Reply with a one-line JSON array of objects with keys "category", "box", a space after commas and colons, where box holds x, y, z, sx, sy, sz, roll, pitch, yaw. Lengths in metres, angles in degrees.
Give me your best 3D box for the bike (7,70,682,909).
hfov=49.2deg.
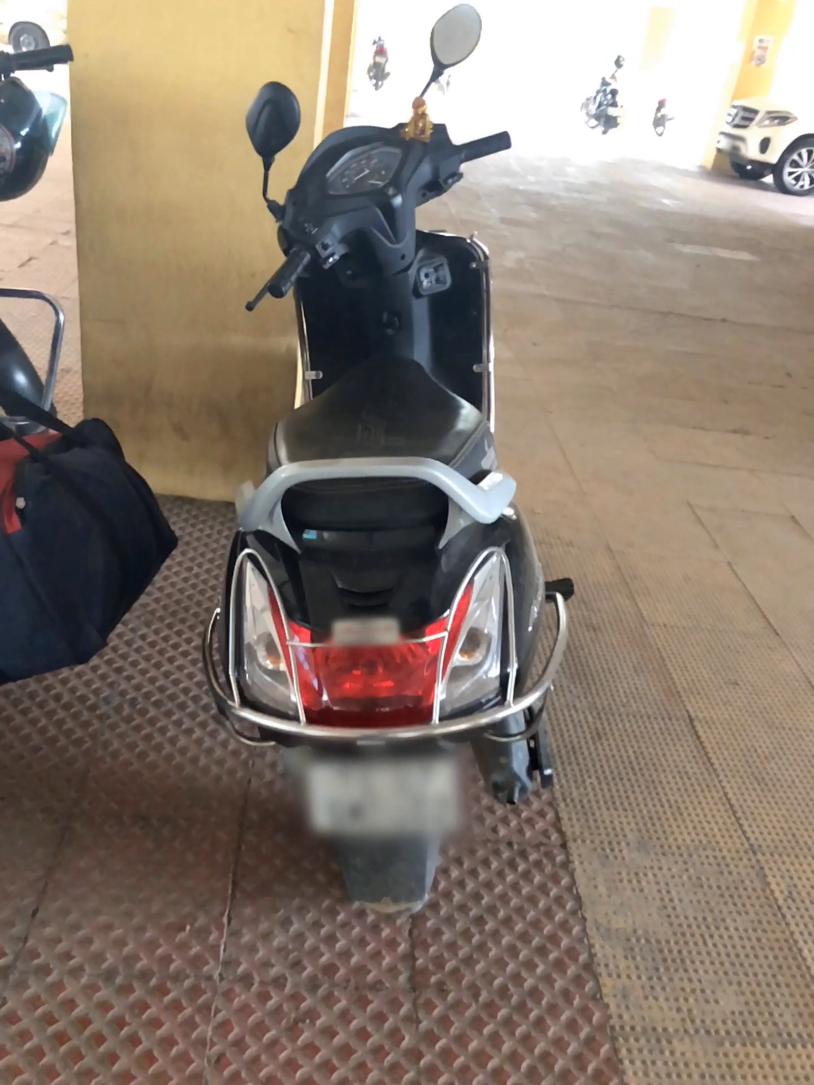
[{"category": "bike", "box": [-0.204, -0.322, 1.736, 0.621, 0.882, 1.668, 4, 30, -9]}]
